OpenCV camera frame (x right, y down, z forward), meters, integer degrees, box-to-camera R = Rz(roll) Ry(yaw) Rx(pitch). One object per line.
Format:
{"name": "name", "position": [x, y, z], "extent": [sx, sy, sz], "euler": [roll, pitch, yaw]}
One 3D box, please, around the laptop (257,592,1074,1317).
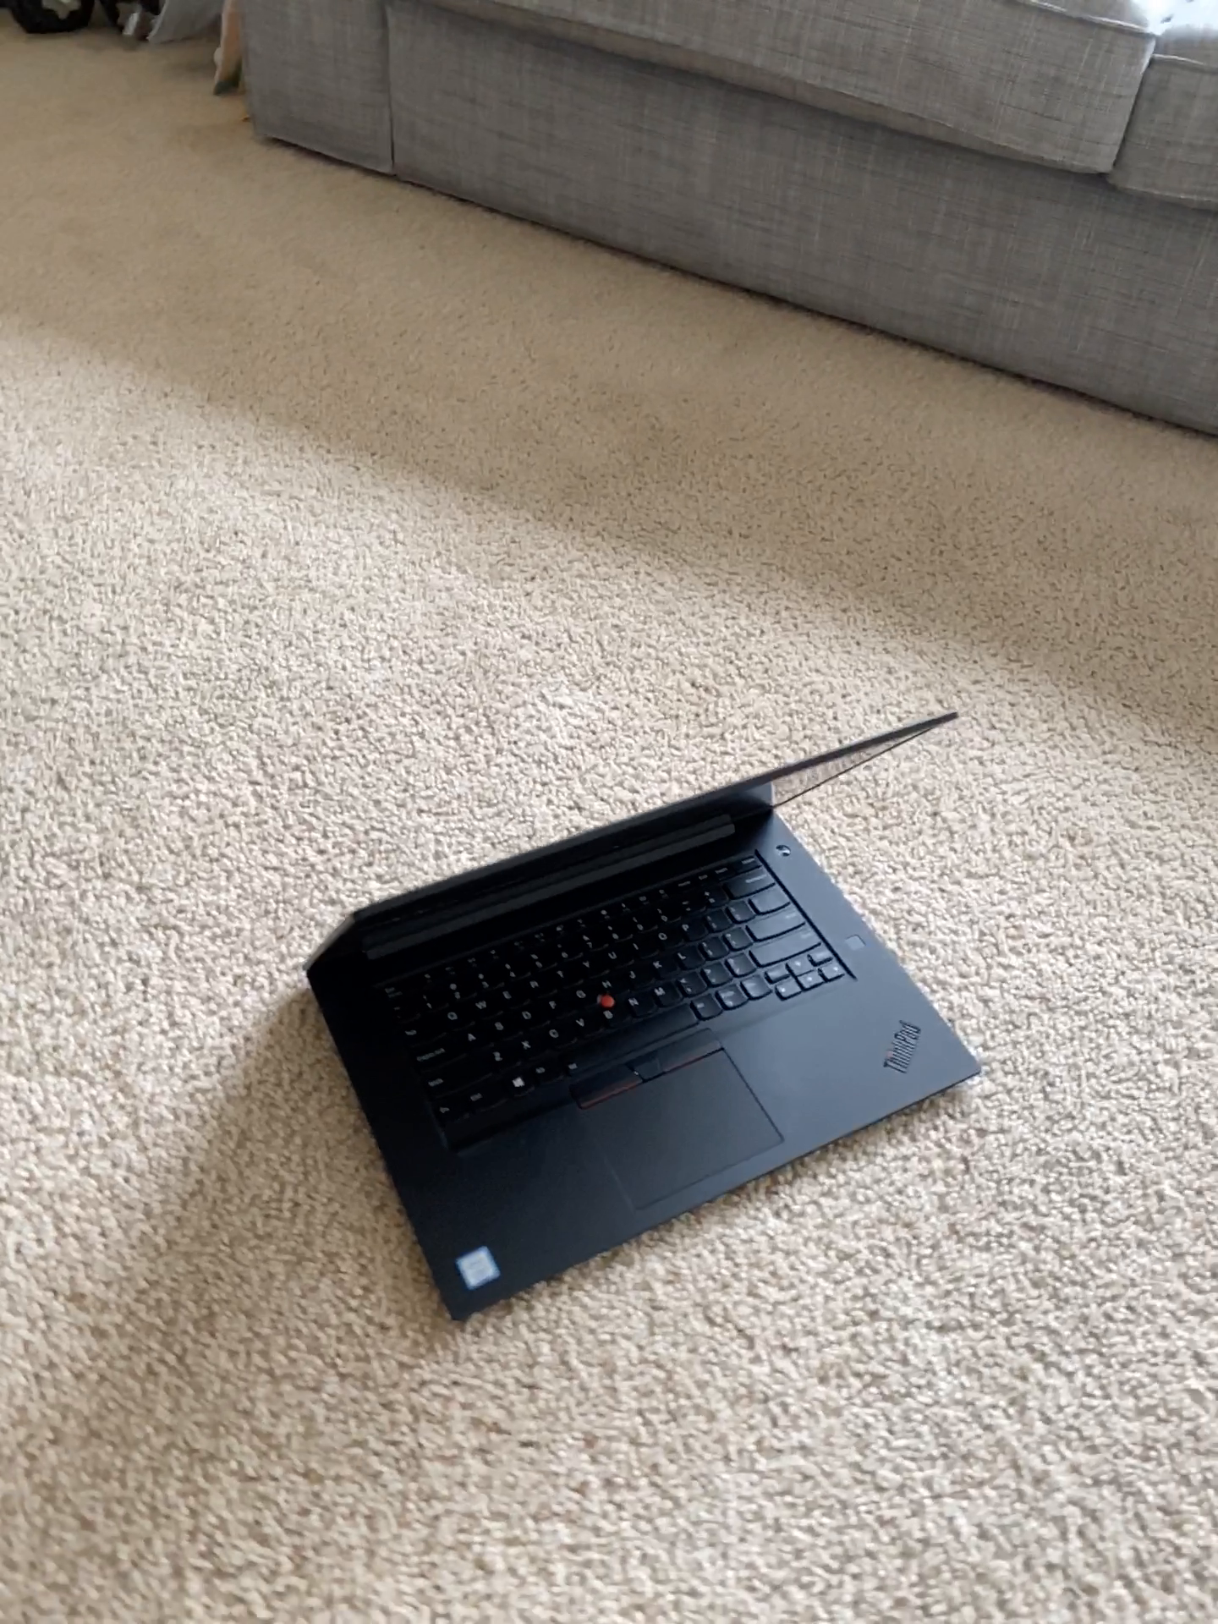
{"name": "laptop", "position": [0.021, 0.063, 0.713], "extent": [0.355, 0.198, 0.244], "euler": [-18, 51, -22]}
